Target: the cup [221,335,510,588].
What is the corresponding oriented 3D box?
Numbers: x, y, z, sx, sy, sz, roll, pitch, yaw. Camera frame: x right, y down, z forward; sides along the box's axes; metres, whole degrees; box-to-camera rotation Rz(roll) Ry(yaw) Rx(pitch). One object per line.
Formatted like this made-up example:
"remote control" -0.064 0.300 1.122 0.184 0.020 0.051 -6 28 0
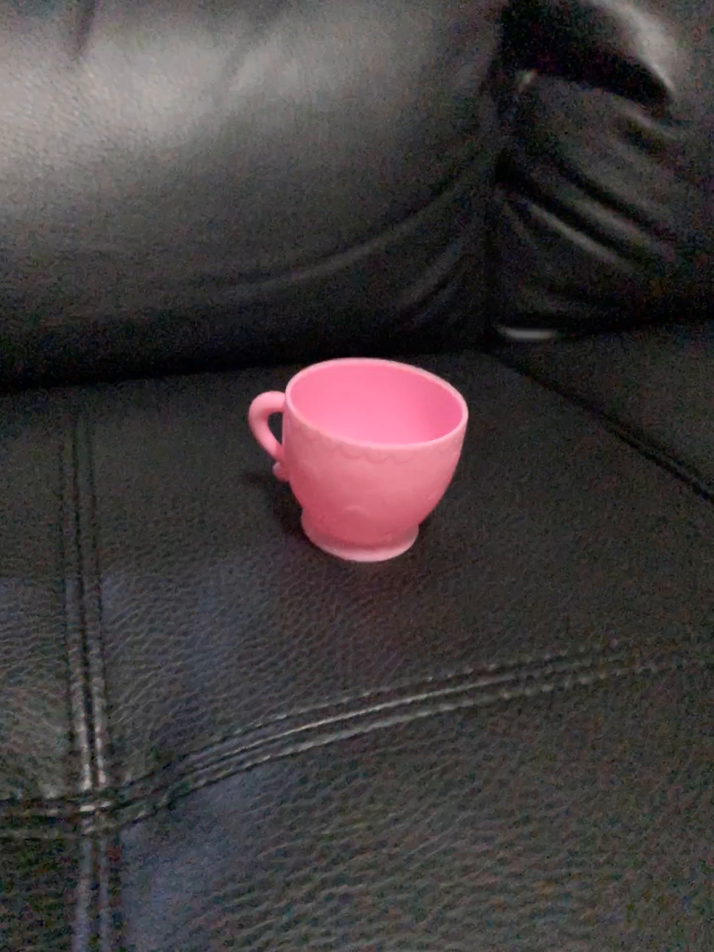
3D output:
"cup" 0.004 -0.009 0.252 0.077 0.045 0.061 14 34 14
